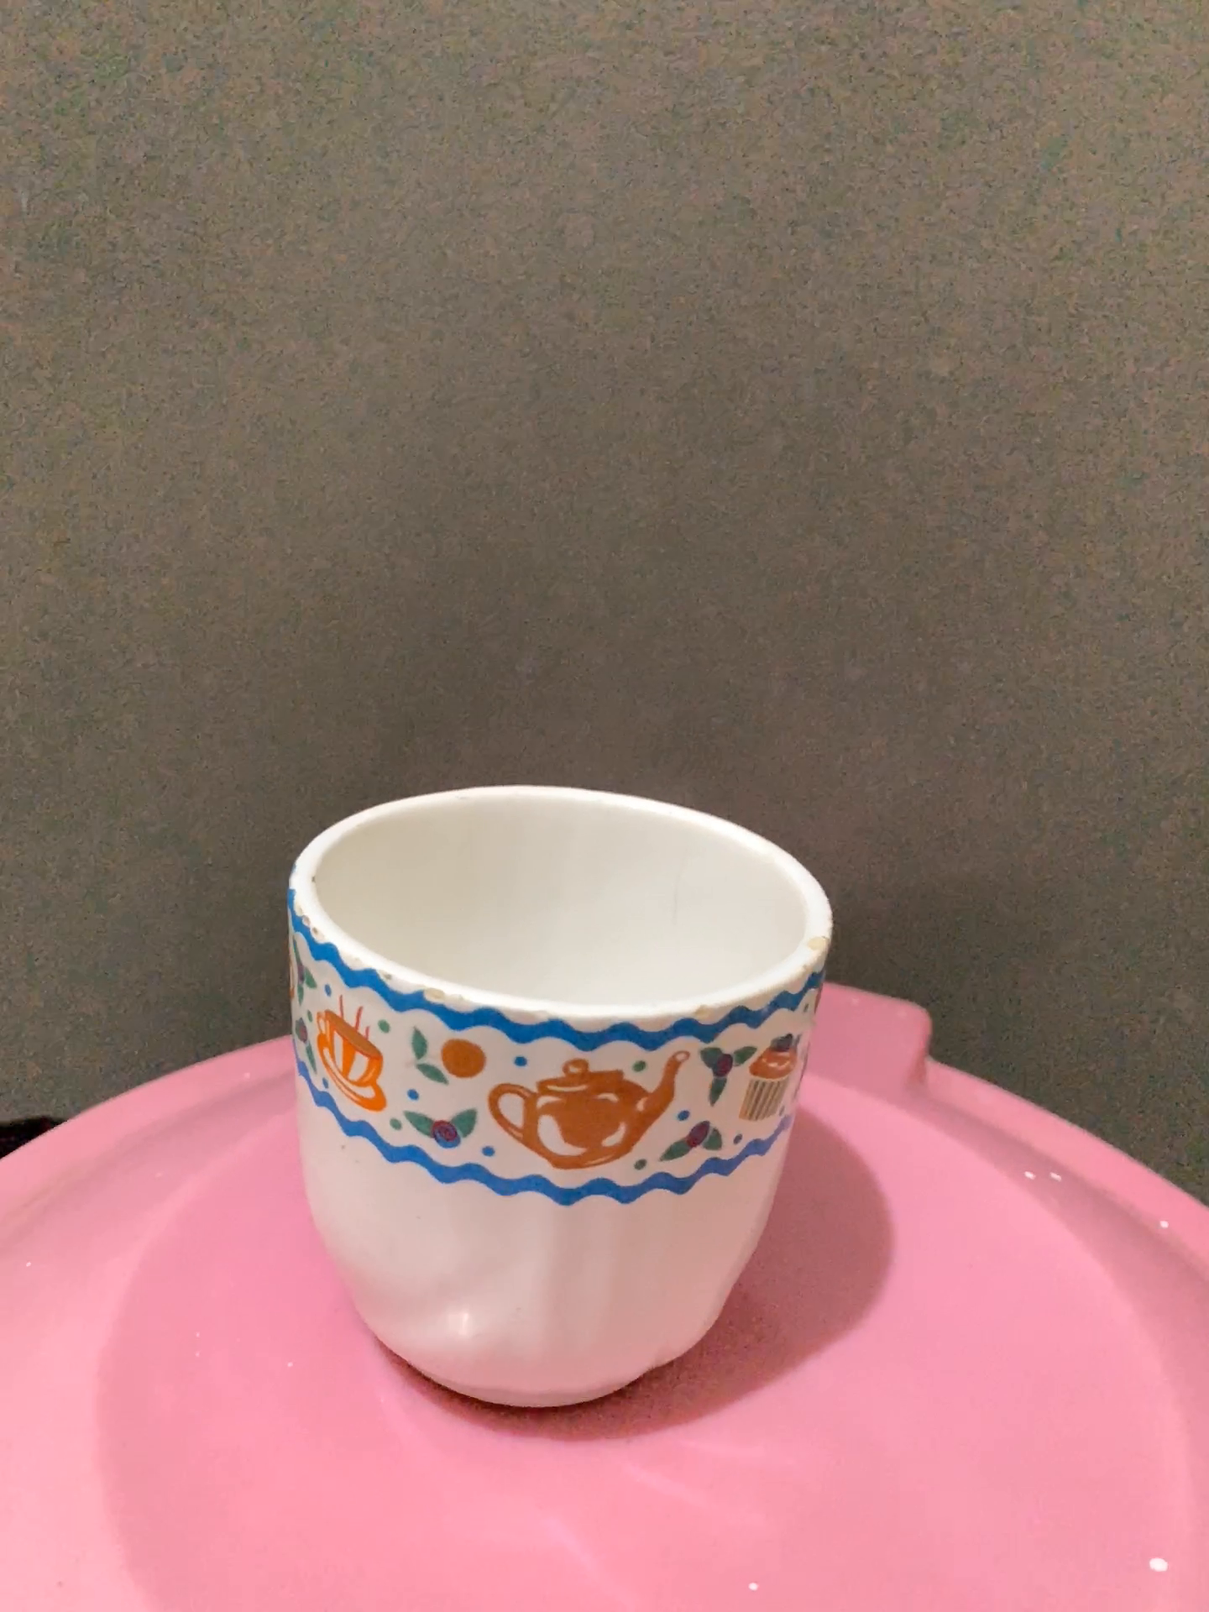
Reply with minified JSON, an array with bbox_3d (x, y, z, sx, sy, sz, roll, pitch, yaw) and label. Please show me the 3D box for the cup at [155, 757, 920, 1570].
[{"bbox_3d":[-0.008,0.036,0.172,0.070,0.060,0.070,5,17,-2],"label":"cup"}]
